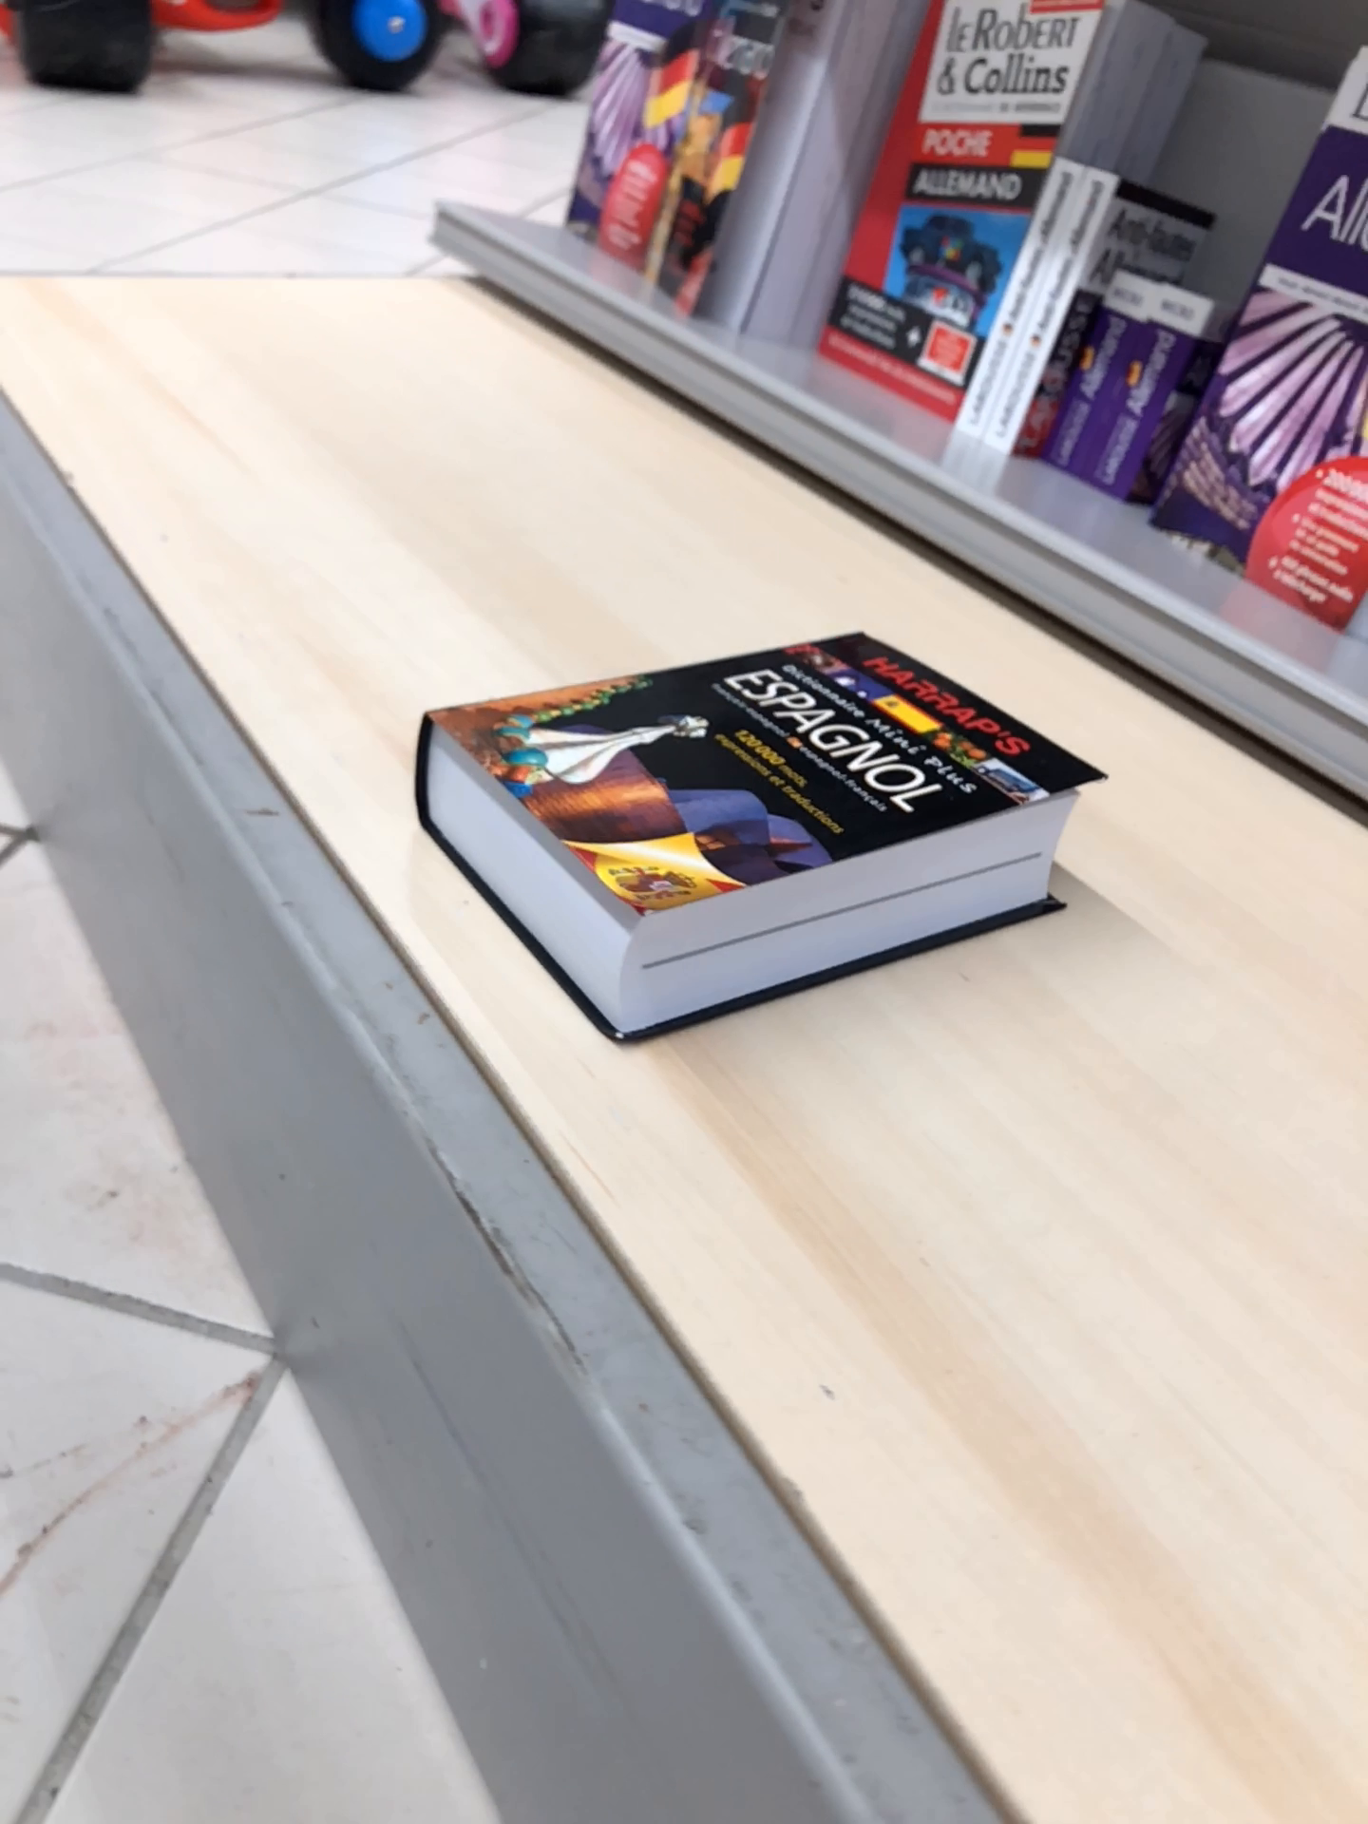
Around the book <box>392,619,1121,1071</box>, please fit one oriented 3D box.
[{"bbox_3d":[0.016,-0.026,0.379,0.146,0.038,0.103,-15,40,-30],"label":"book"}]
